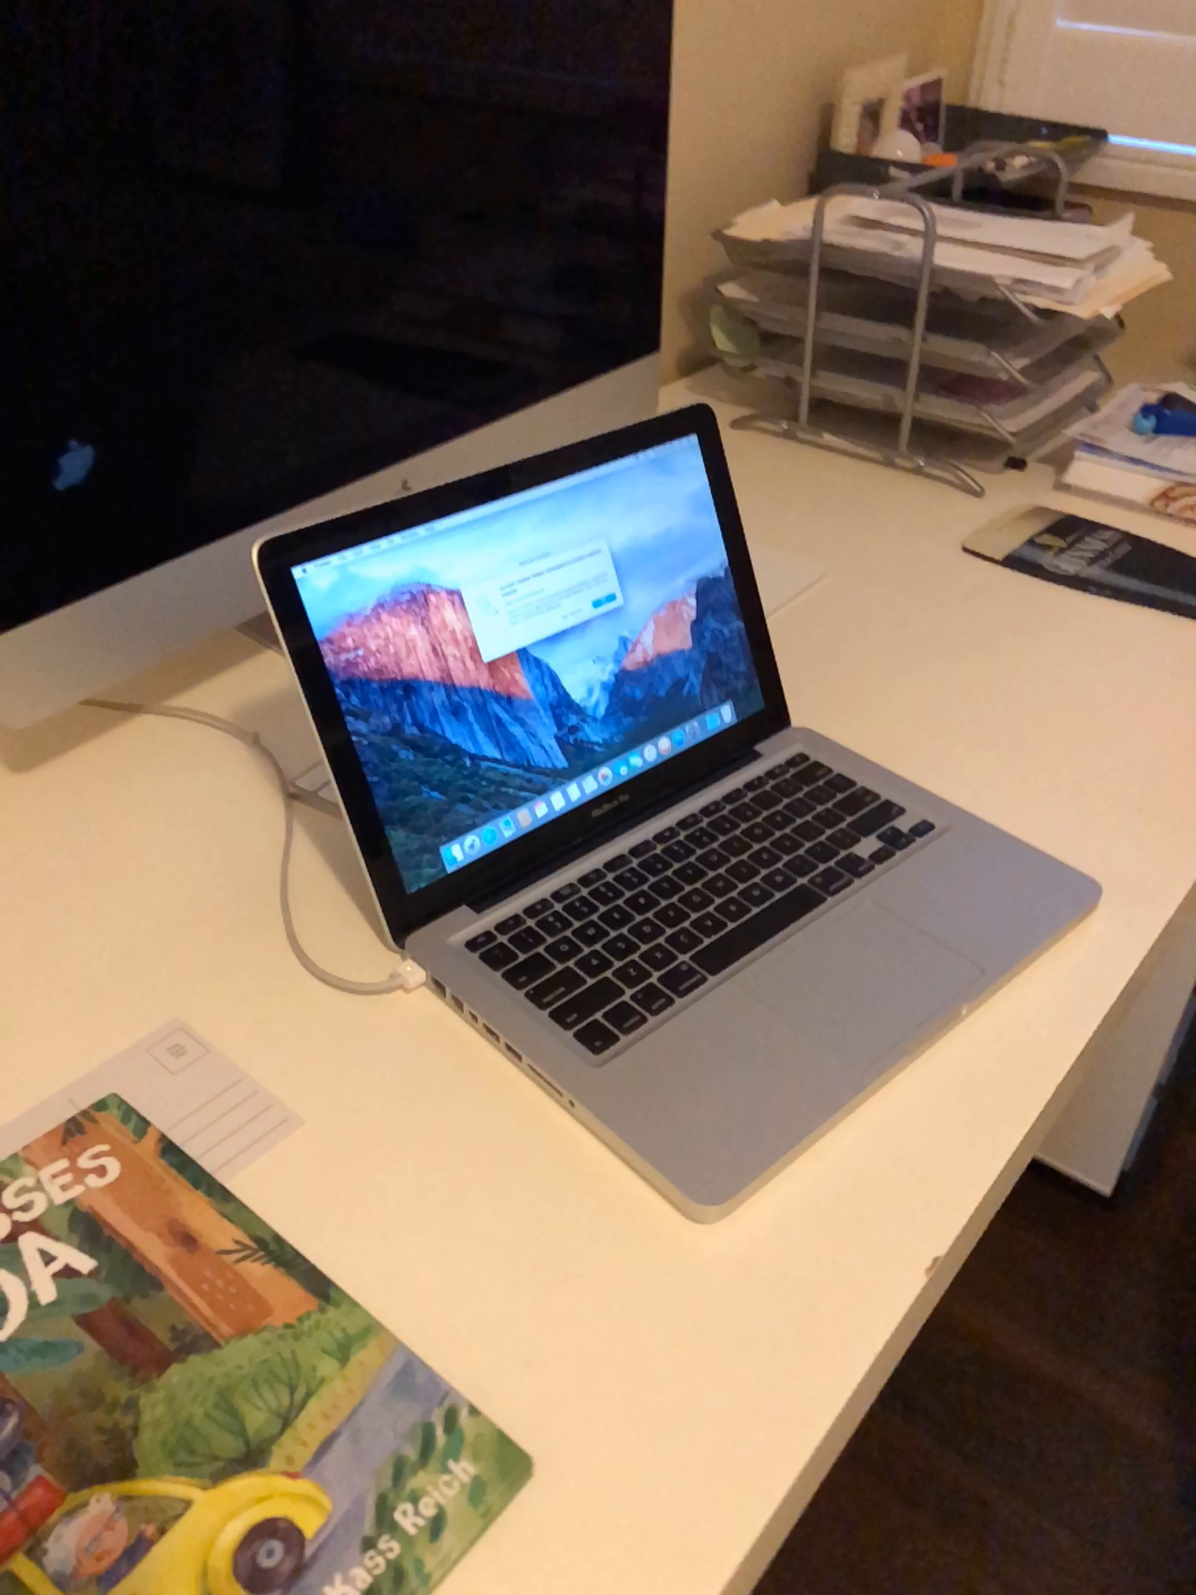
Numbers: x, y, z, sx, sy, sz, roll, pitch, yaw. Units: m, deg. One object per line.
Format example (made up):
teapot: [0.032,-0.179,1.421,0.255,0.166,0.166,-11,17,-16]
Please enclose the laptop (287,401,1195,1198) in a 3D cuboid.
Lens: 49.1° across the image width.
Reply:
laptop: [0.063,-0.036,0.678,0.303,0.187,0.313,-28,45,-33]
